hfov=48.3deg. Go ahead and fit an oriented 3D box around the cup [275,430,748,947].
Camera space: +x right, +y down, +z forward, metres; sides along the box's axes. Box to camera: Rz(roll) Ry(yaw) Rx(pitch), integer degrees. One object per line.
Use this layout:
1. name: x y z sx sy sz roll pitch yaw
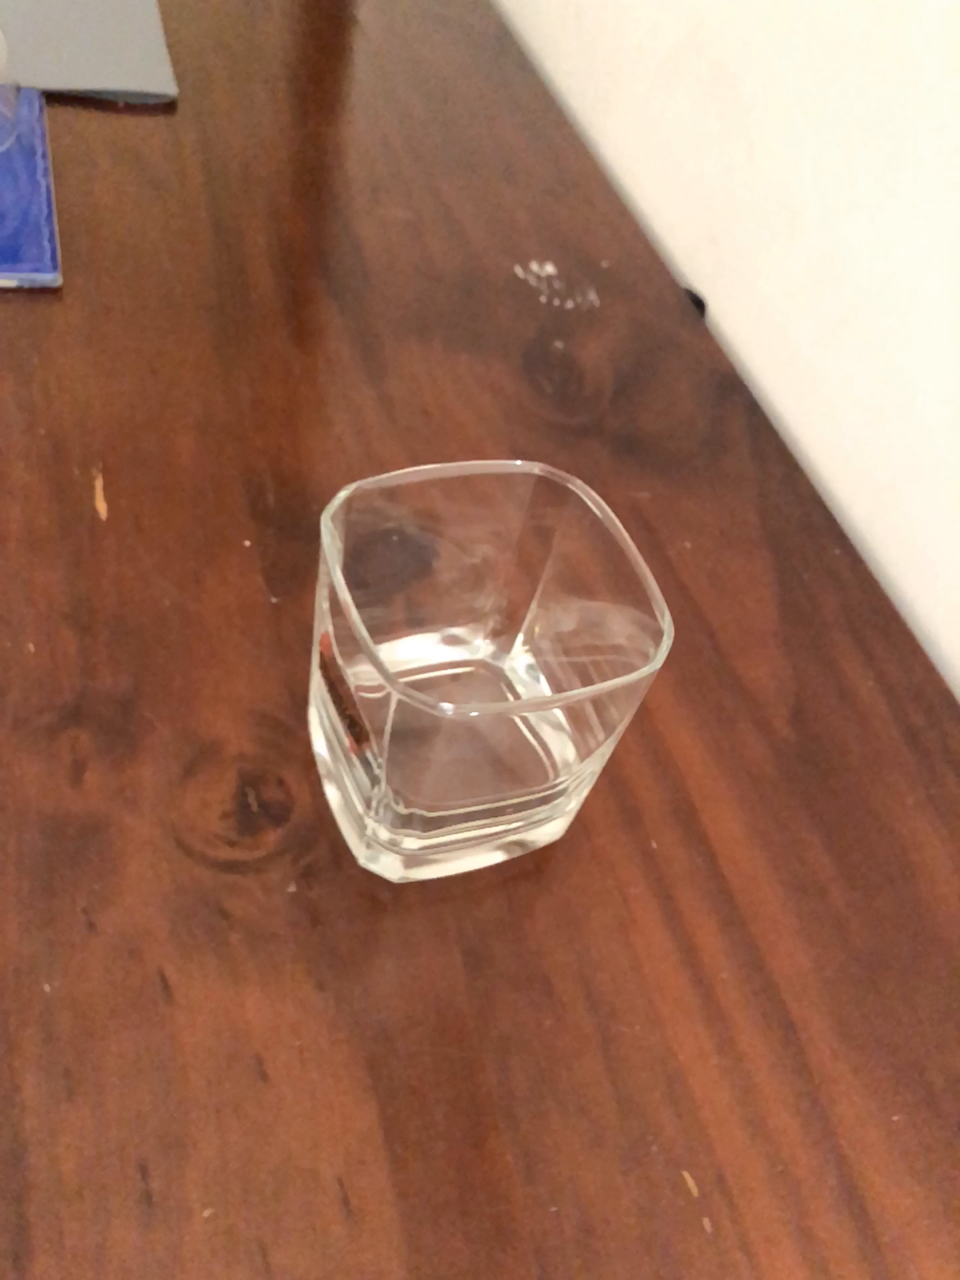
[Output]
1. cup: -0.001 0.011 0.277 0.081 0.085 0.086 7 49 -8
